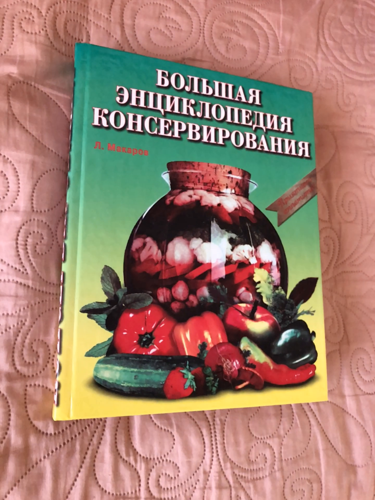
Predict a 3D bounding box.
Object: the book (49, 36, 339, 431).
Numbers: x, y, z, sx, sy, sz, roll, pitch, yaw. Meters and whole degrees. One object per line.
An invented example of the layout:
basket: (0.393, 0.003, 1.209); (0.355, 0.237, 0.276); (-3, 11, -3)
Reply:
book: (0.010, -0.012, 0.340); (0.216, 0.050, 0.272); (4, 78, -20)
